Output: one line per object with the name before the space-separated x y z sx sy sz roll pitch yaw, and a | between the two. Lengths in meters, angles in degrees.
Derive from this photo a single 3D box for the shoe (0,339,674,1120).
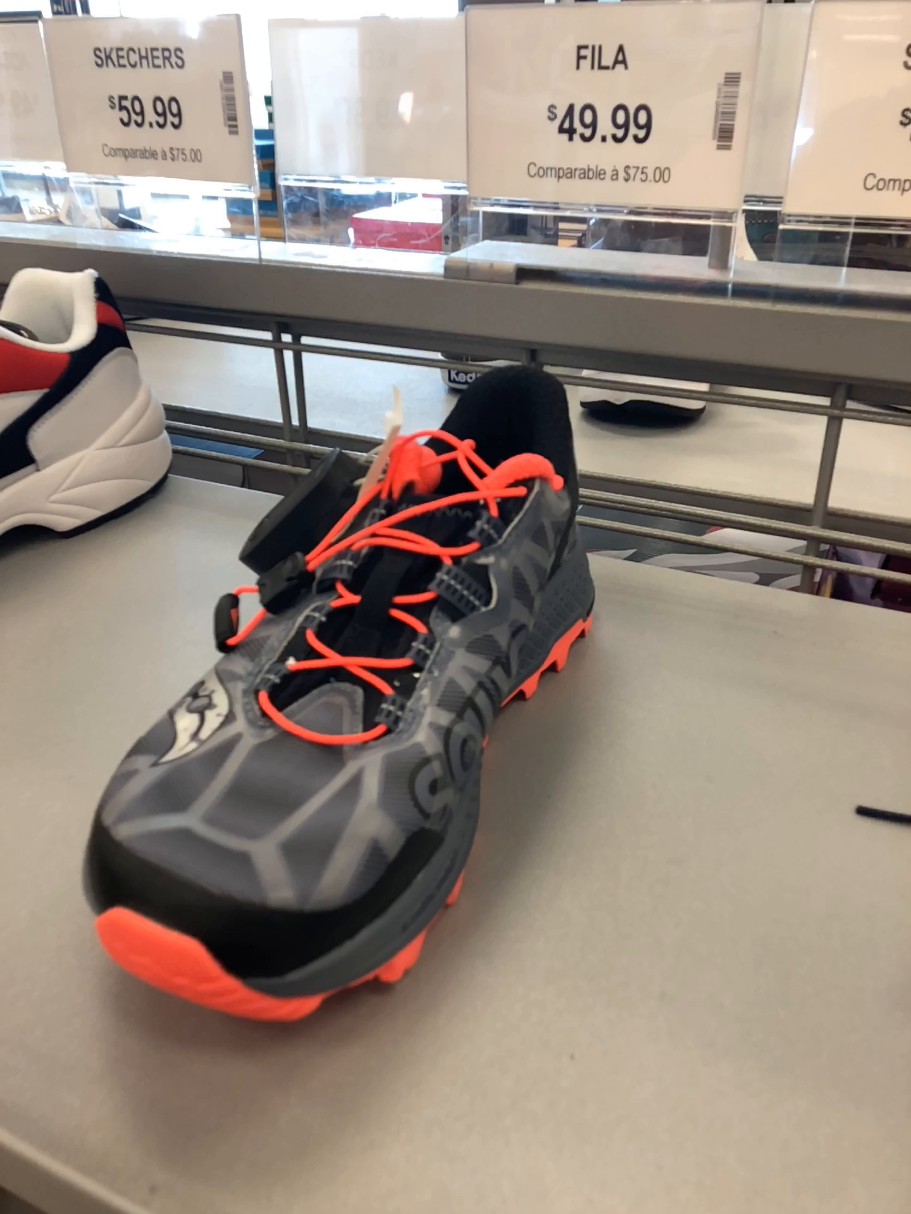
shoe | -0.016 0.000 0.352 0.110 0.109 0.292 11 31 21
